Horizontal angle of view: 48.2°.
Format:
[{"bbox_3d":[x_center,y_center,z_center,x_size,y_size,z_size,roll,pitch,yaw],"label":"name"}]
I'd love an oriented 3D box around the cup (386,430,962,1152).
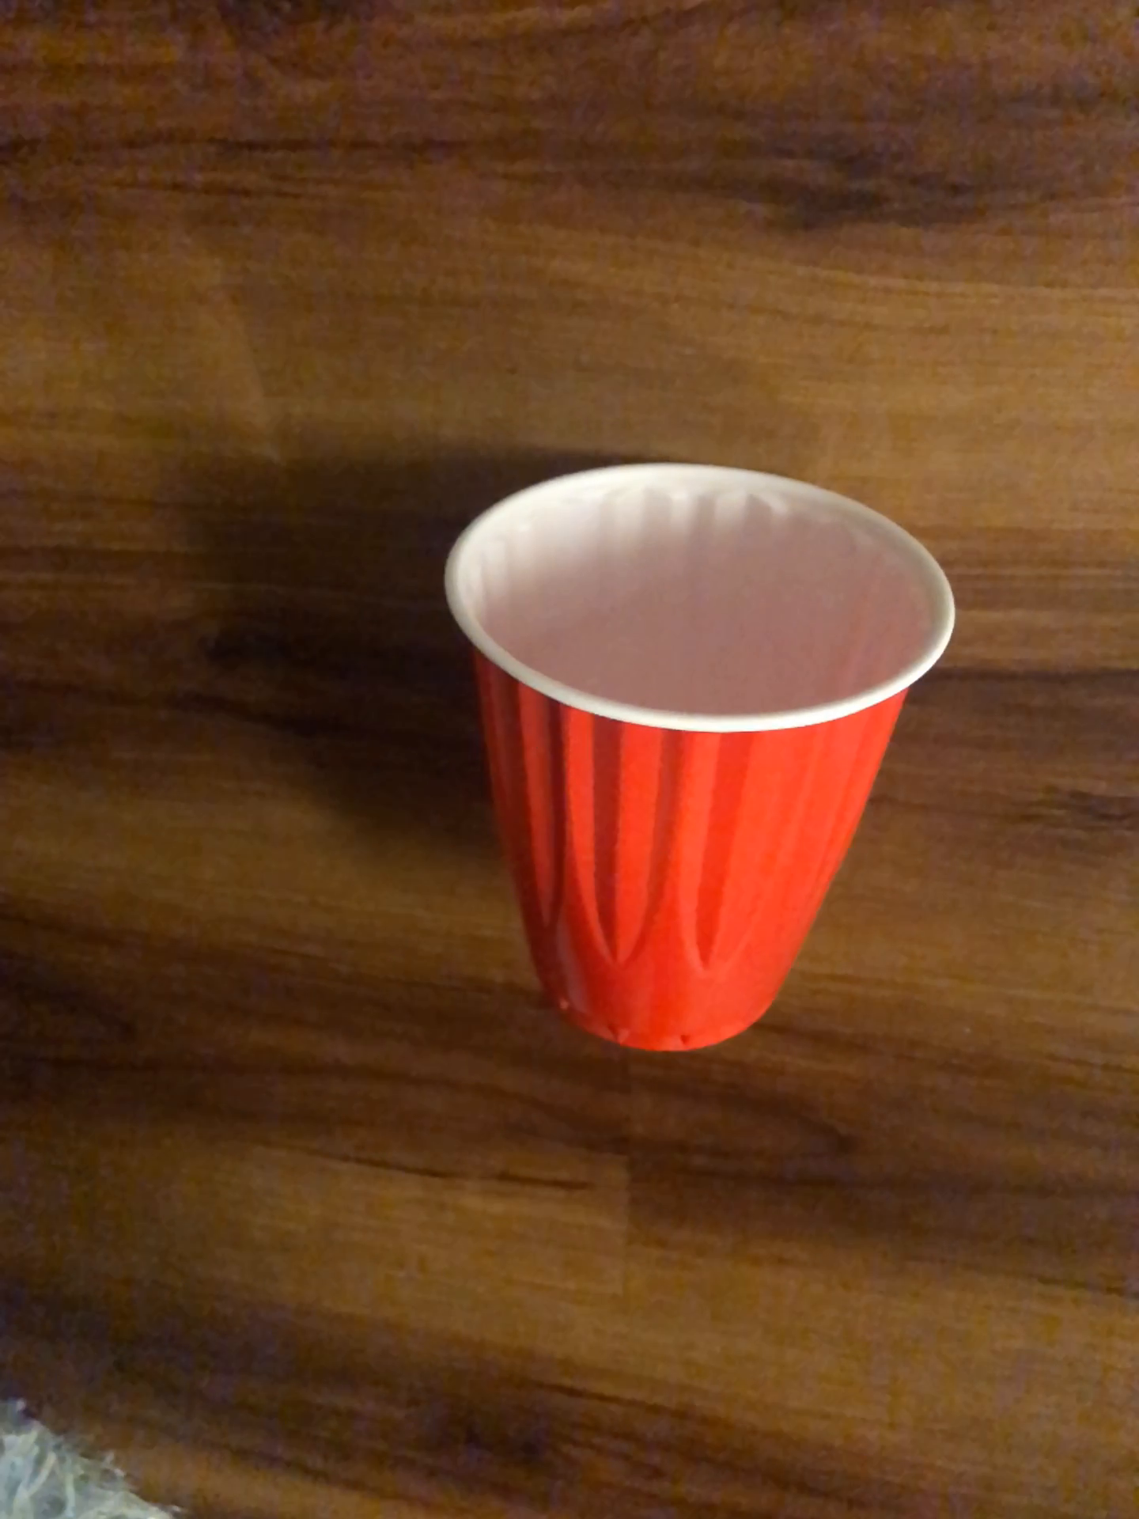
[{"bbox_3d":[0.023,0.005,0.286,0.099,0.089,0.115,11,129,9],"label":"cup"}]
